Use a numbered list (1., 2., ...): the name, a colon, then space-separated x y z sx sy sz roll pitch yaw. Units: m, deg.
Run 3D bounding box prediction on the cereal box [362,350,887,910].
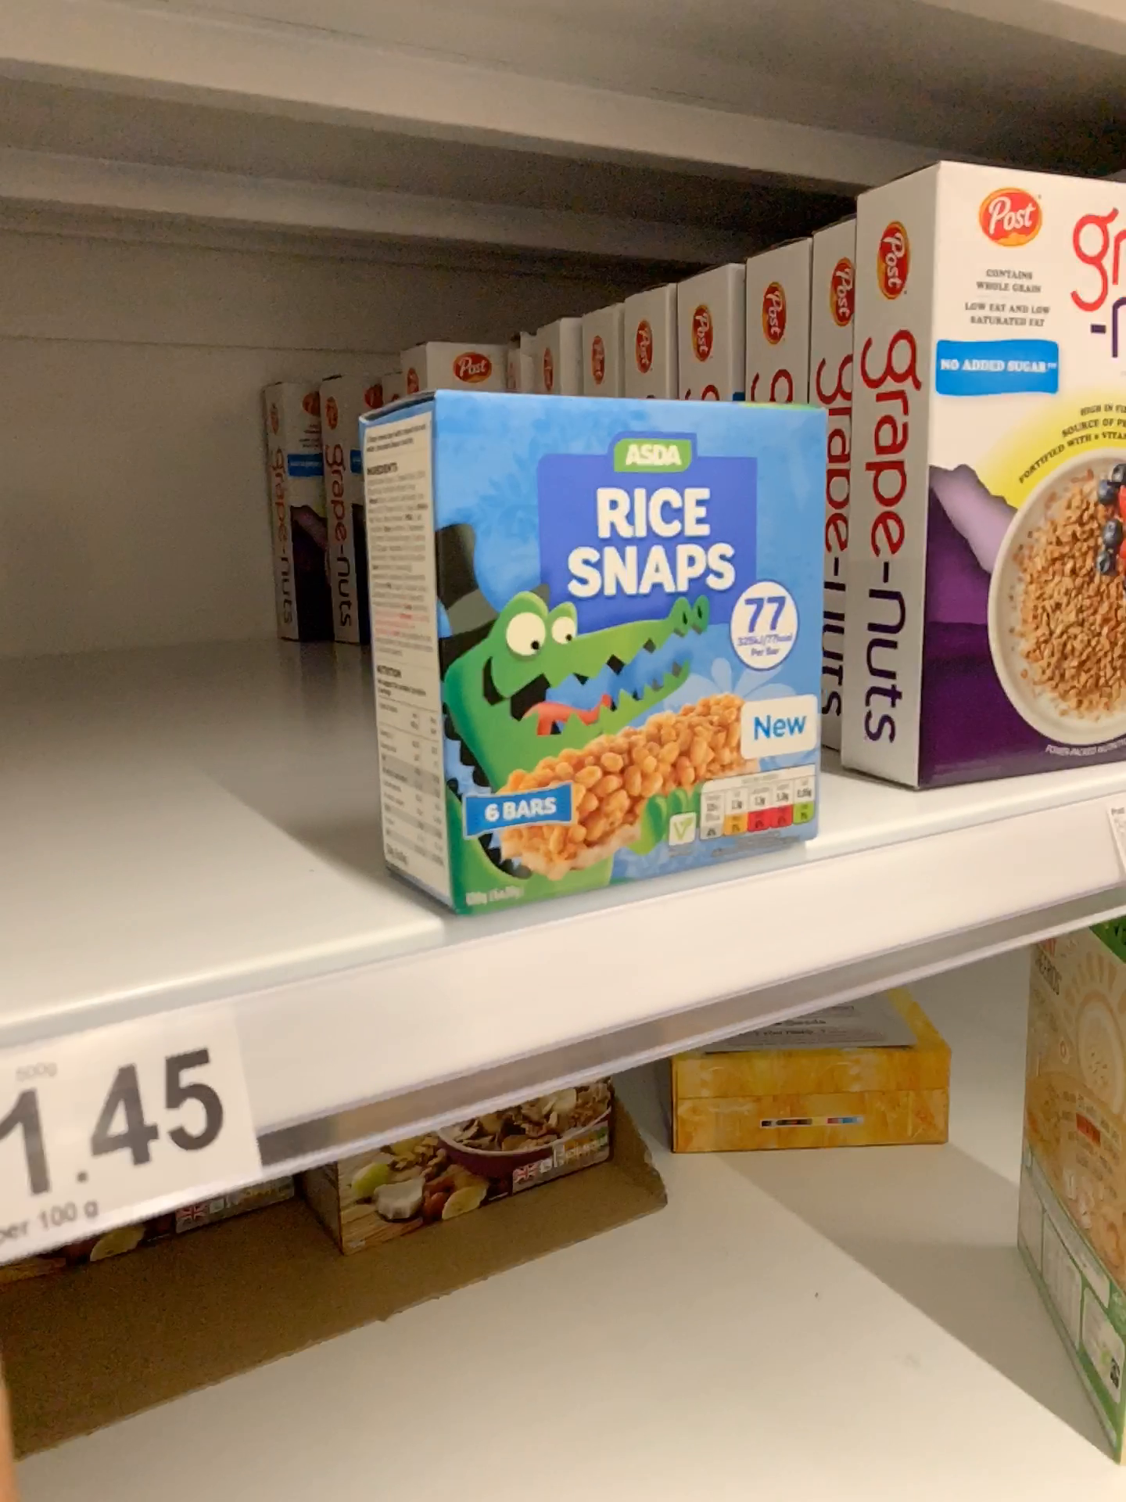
1. cereal box: 0.021 -0.037 0.325 0.140 0.129 0.050 -7 12 -32
